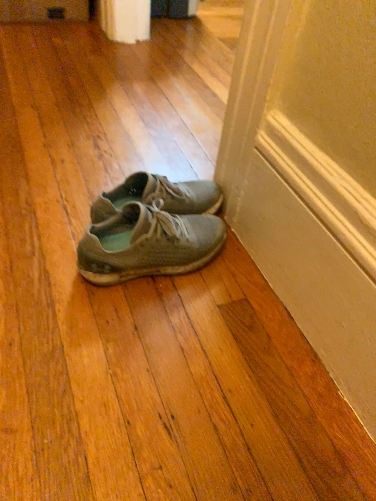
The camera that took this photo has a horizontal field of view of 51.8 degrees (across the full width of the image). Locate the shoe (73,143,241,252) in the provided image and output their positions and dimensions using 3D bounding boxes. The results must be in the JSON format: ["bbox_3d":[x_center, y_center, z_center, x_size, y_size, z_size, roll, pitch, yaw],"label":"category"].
[{"bbox_3d":[-0.052,-0.101,0.682,0.260,0.080,0.110,-20,52,-25],"label":"shoe"}]

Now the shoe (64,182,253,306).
[{"bbox_3d":[-0.047,-0.019,0.631,0.270,0.090,0.110,-15,51,-21],"label":"shoe"}]
